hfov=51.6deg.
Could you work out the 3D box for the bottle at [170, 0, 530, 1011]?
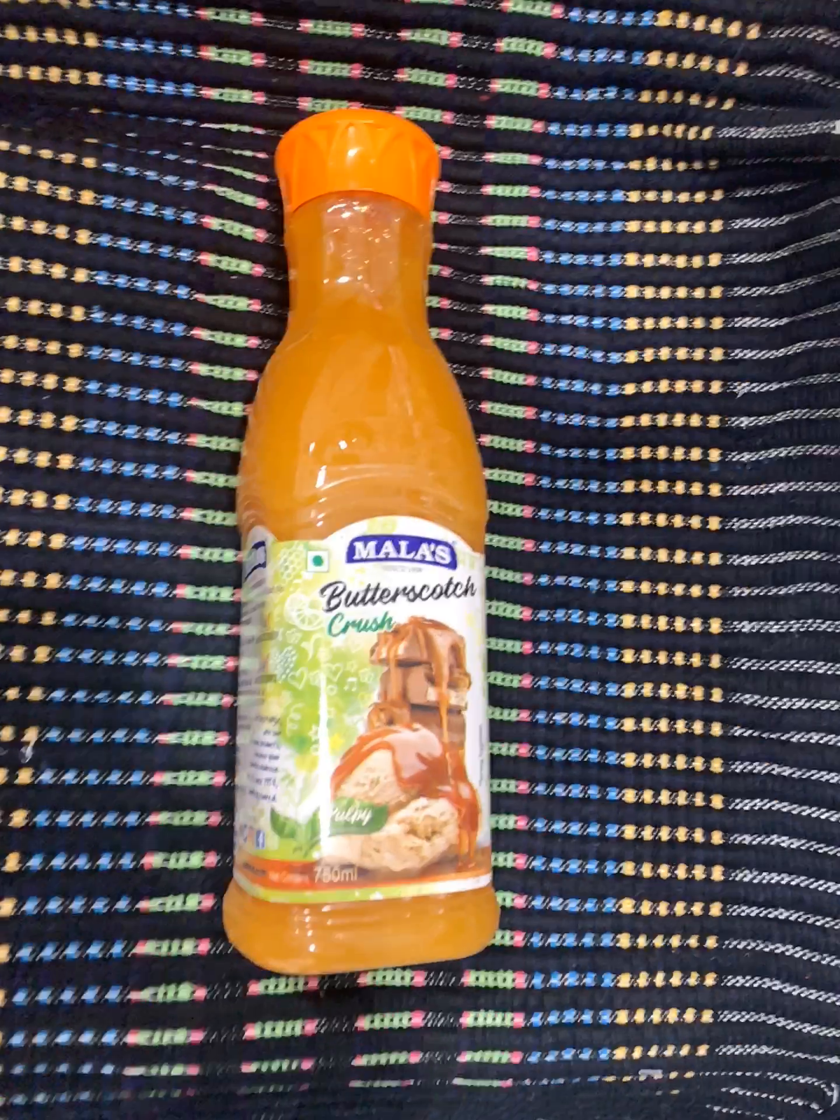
[{"bbox_3d":[-0.023,-0.026,0.234,0.070,0.060,0.250,4,74,-19],"label":"bottle"}]
